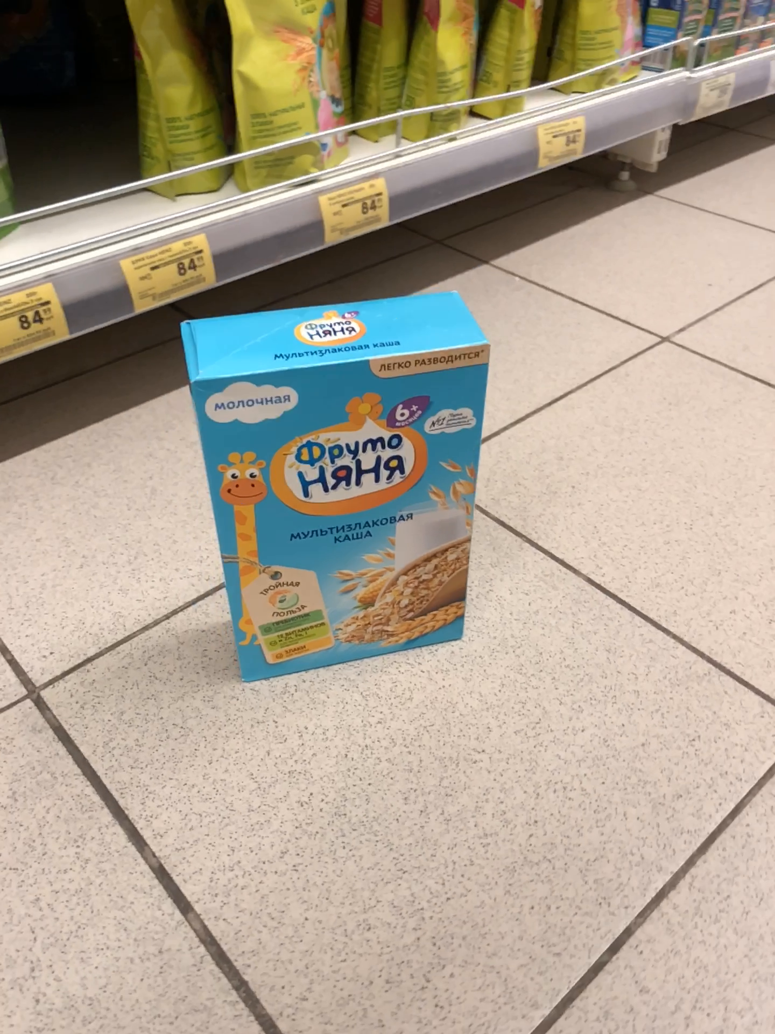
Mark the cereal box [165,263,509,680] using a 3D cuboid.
[{"bbox_3d":[-0.024,-0.016,0.437,0.140,0.199,0.060,-10,43,-11],"label":"cereal box"}]
